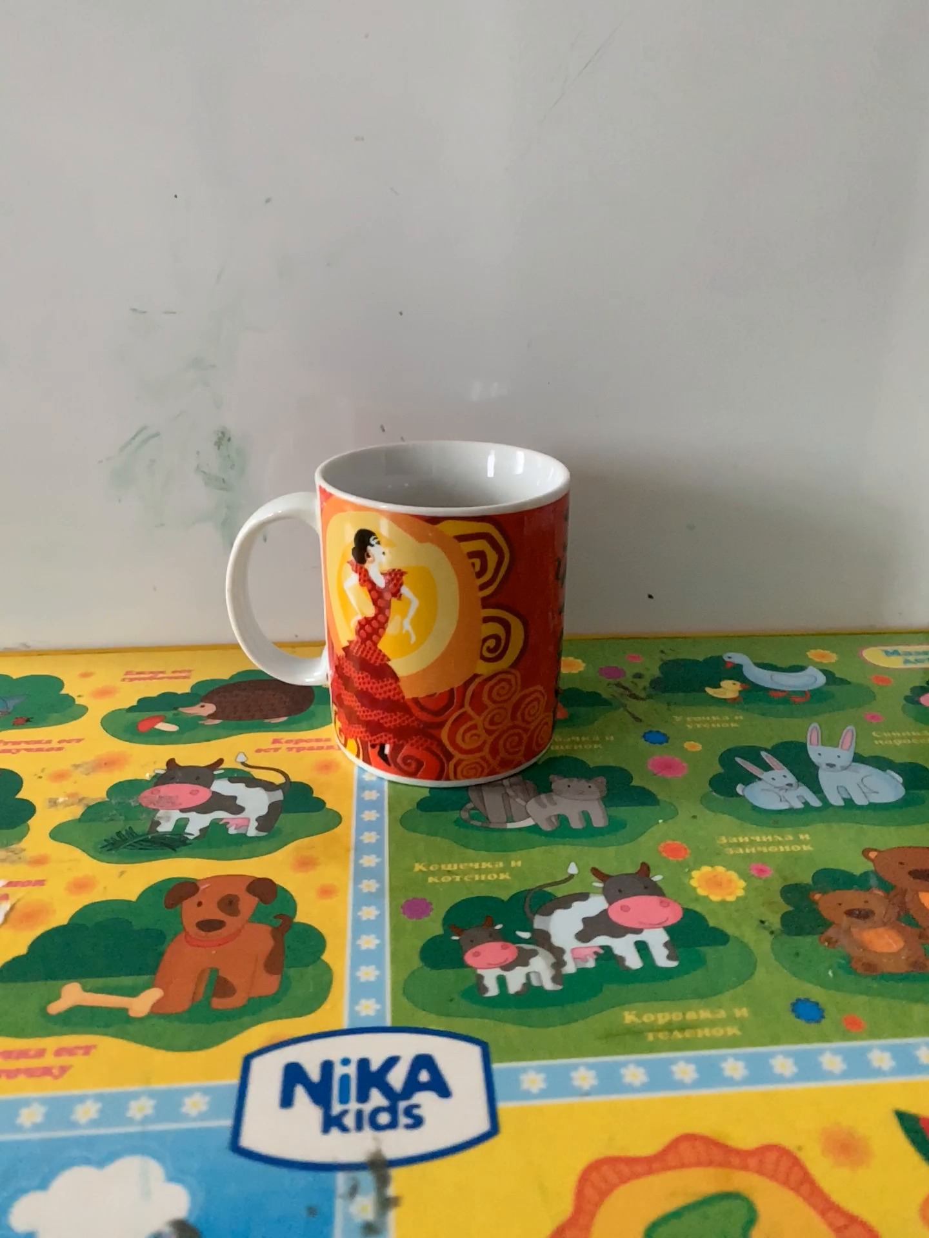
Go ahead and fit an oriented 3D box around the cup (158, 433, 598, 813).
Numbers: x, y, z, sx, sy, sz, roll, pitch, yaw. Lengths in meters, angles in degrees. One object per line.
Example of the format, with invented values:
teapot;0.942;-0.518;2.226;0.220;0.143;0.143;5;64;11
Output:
cup;-0.025;-0.003;0.317;0.118;0.097;0.085;-1;24;-2
